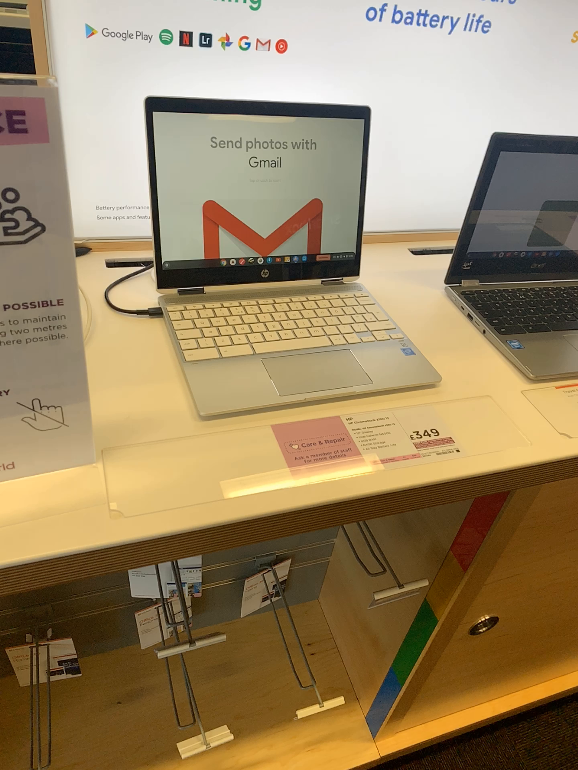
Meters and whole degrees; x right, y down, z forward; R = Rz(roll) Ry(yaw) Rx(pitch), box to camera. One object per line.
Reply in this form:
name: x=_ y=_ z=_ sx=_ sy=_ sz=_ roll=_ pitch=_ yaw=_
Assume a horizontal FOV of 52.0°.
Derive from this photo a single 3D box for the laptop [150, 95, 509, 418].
laptop: x=0.011 y=-0.149 z=0.615 sx=0.258 sy=0.190 sz=0.271 roll=-7 pitch=43 yaw=-20
